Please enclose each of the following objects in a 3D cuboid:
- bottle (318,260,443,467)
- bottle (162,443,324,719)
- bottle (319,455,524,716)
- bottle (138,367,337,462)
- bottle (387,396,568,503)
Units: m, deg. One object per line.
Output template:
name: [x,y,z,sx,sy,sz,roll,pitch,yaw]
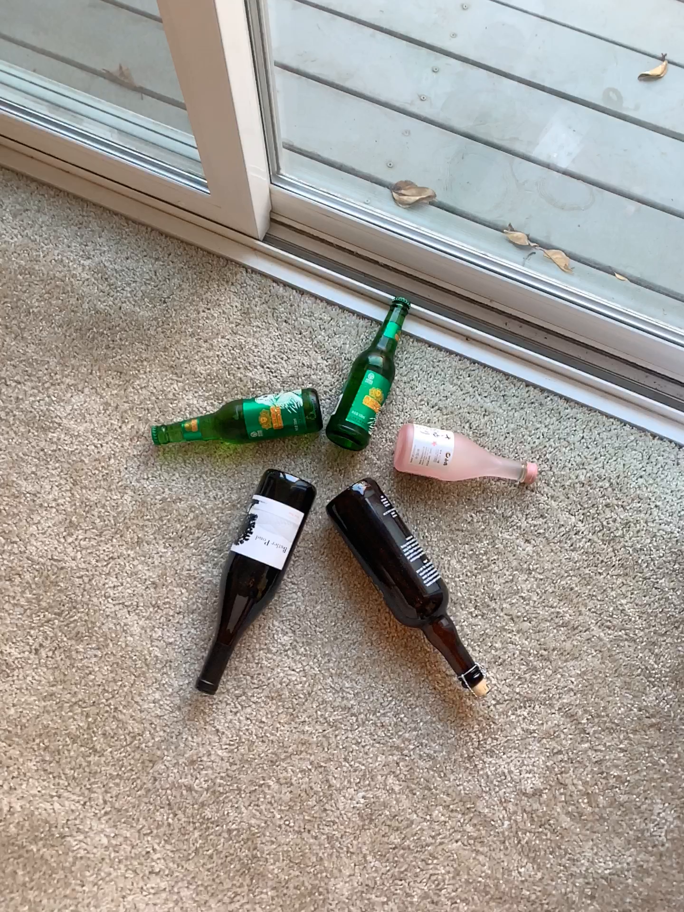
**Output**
bottle: [0.052,-0.123,0.940,0.080,0.090,0.250,20,78,5]
bottle: [-0.112,0.150,0.858,0.080,0.090,0.310,19,73,4]
bottle: [0.089,0.158,0.866,0.080,0.090,0.310,-31,75,-8]
bottle: [-0.133,-0.052,0.912,0.240,0.090,0.070,-7,75,-5]
bottle: [0.171,-0.007,0.905,0.210,0.090,0.080,11,75,5]
